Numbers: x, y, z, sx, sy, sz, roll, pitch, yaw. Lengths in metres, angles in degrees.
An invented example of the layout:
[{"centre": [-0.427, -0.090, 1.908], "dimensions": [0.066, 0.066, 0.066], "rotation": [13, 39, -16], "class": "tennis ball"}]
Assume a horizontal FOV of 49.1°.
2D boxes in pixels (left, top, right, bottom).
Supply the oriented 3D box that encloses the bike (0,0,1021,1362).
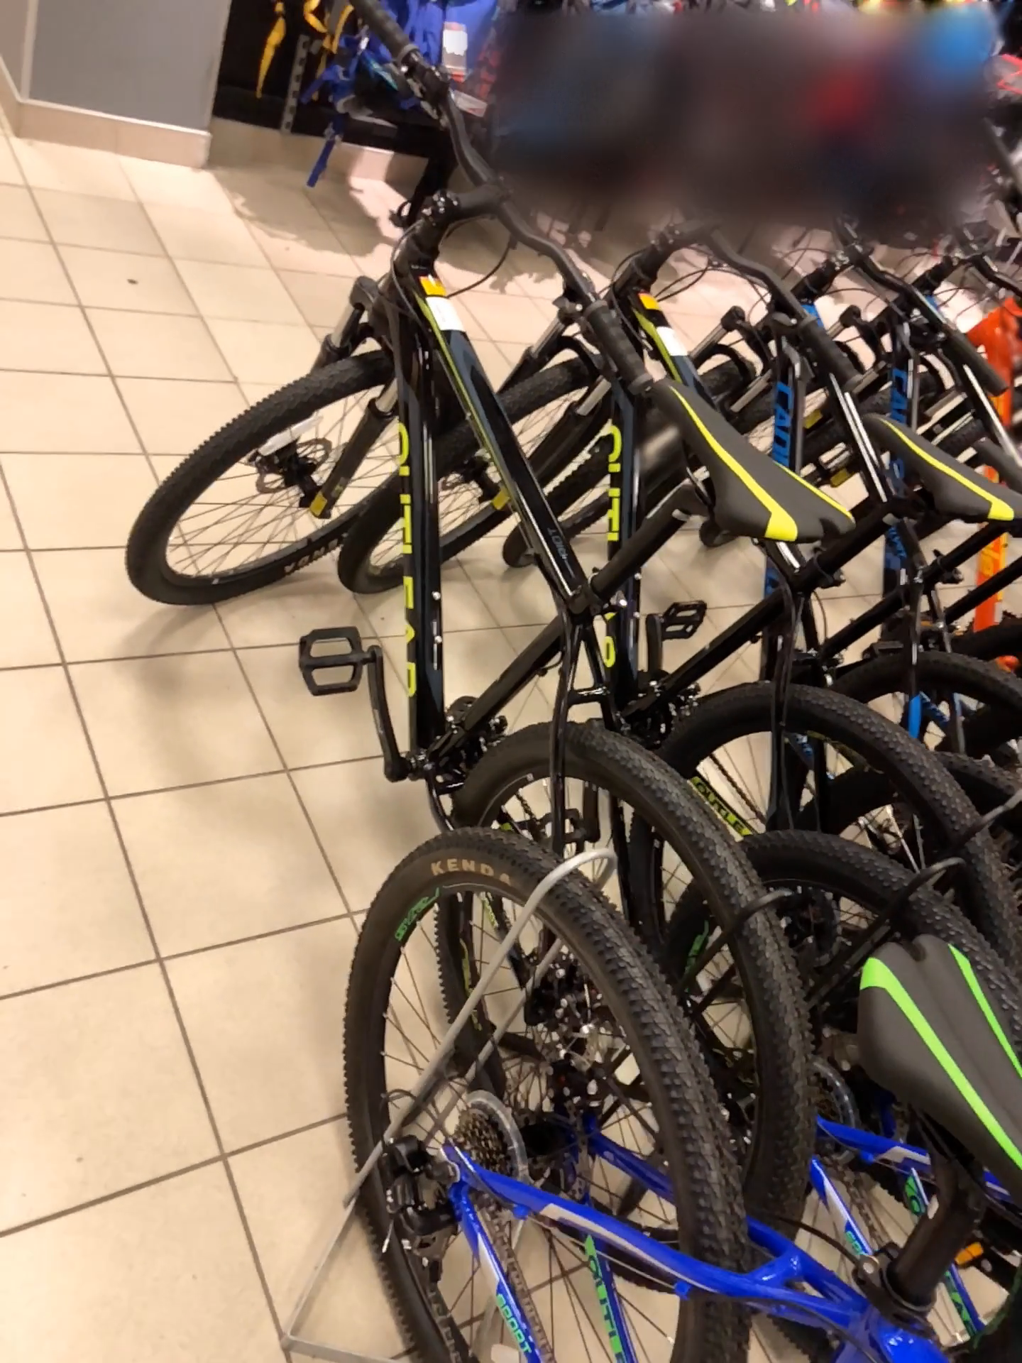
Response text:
[{"centre": [-0.147, 0.042, 1.332], "dimensions": [0.664, 1.044, 1.354], "rotation": [-16, 53, -41], "class": "bike"}]
